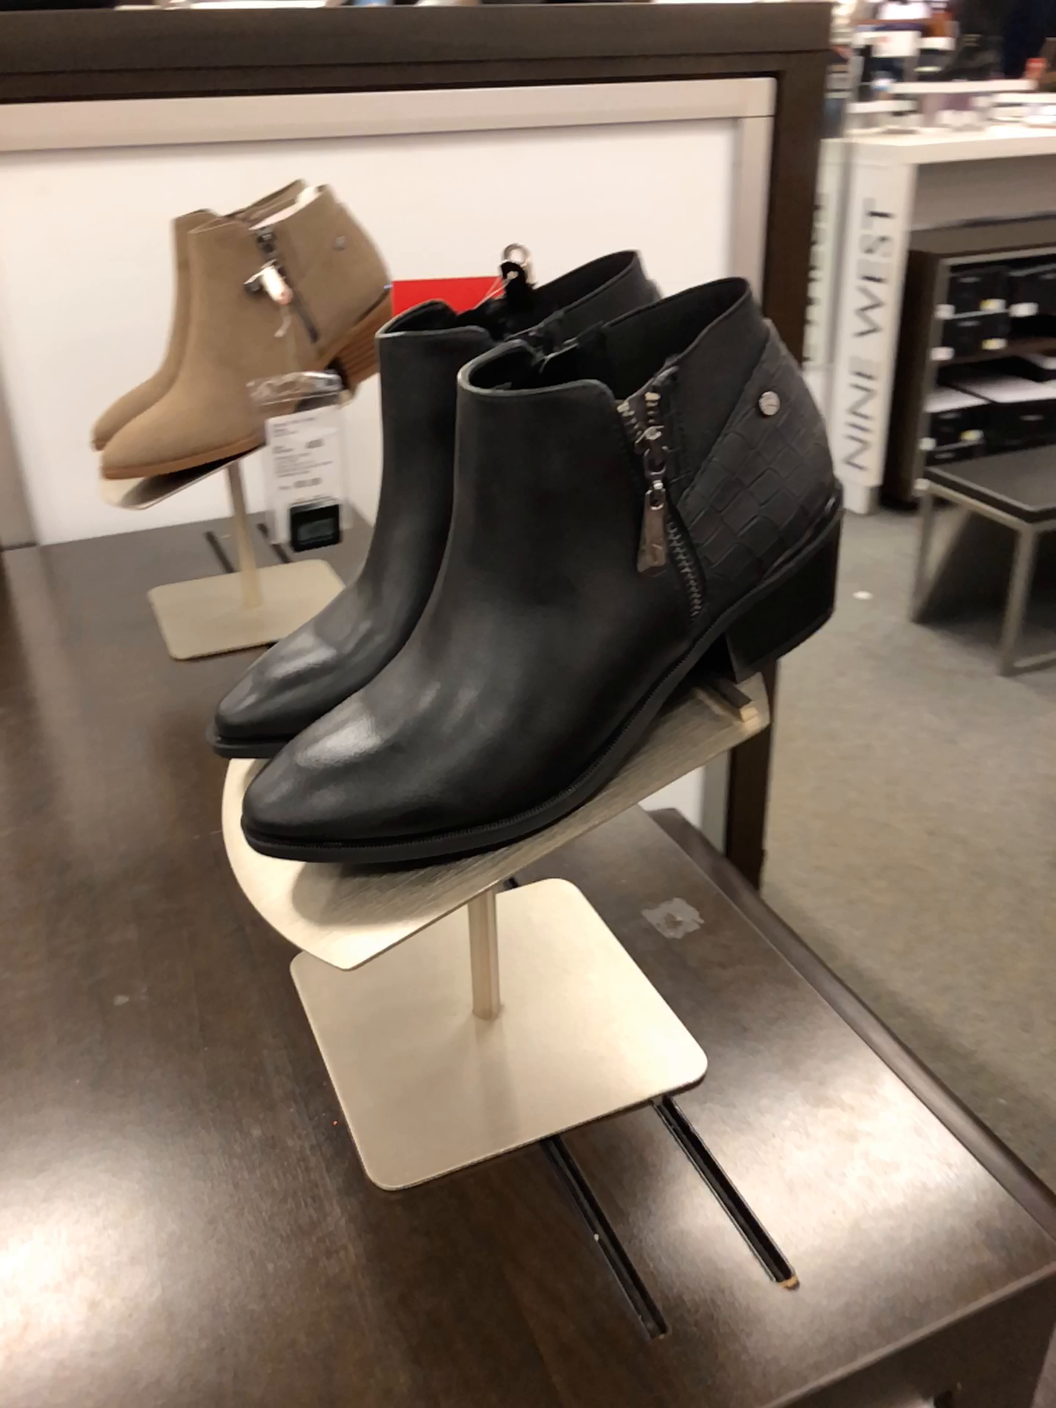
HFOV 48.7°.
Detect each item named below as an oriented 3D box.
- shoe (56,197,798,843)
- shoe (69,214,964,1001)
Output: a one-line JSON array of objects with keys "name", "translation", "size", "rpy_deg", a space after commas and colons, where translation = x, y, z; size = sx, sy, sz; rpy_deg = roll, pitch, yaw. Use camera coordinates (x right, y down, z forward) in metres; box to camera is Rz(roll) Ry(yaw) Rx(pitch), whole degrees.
[{"name": "shoe", "translation": [-0.039, -0.079, 0.469], "size": [0.243, 0.131, 0.105], "rpy_deg": [-29, 32, -3]}, {"name": "shoe", "translation": [-0.003, -0.038, 0.388], "size": [0.243, 0.131, 0.105], "rpy_deg": [-29, 32, -3]}]
